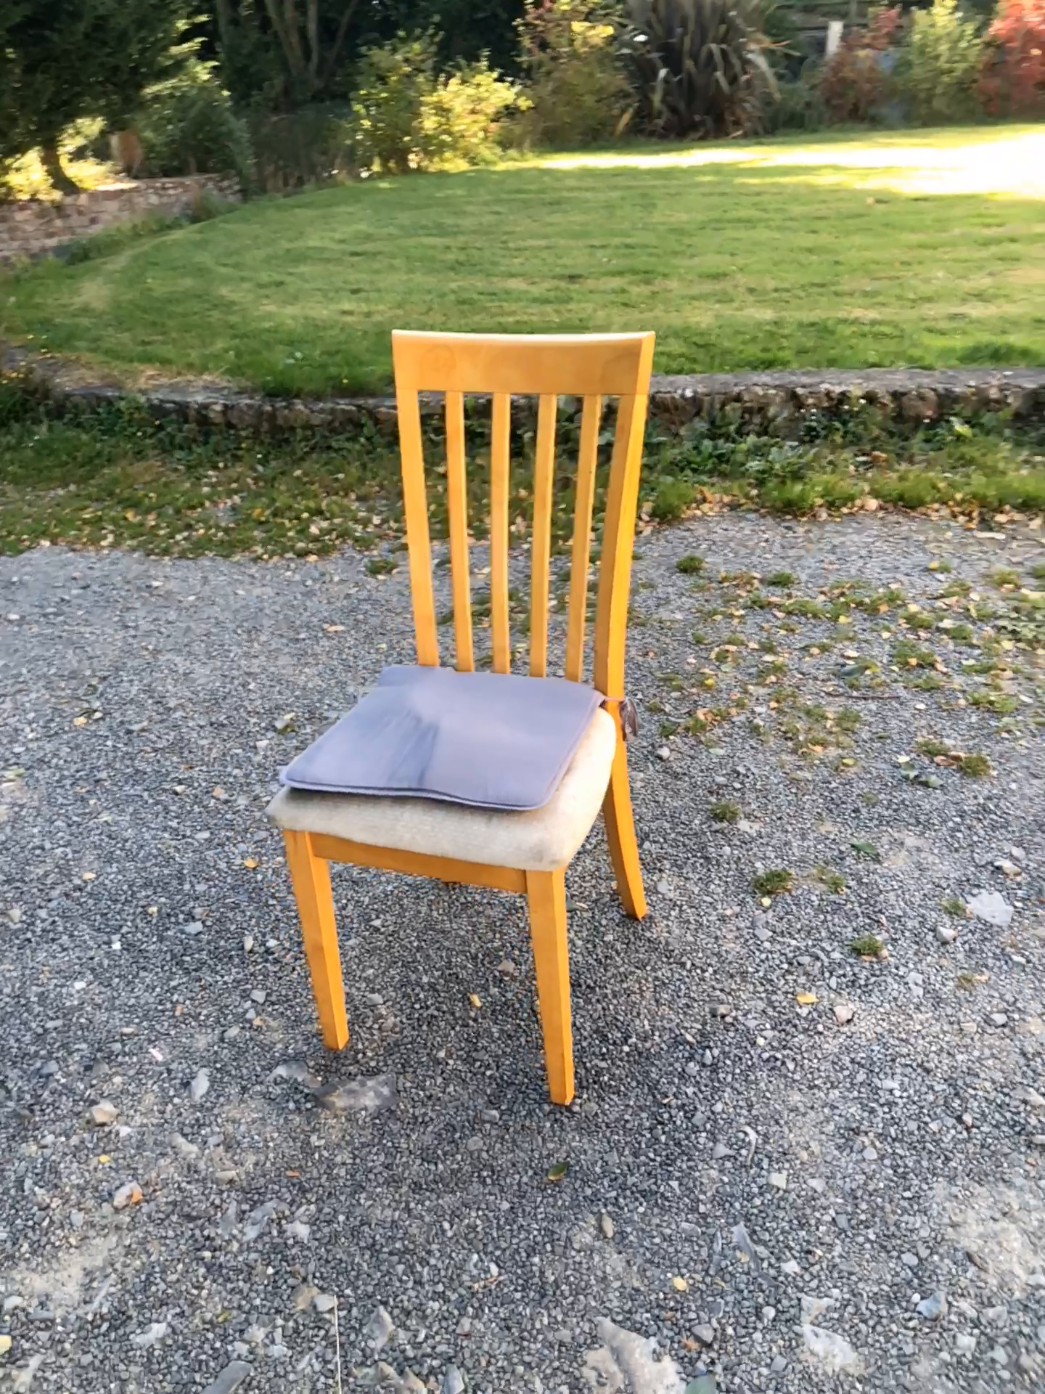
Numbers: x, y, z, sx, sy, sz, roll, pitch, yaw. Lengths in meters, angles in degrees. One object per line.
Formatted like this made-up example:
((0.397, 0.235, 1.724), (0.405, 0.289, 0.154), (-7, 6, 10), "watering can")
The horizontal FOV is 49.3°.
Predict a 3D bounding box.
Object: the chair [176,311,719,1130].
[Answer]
((-0.037, 0.004, 1.712), (0.510, 0.995, 0.614), (7, 30, 17), "chair")
